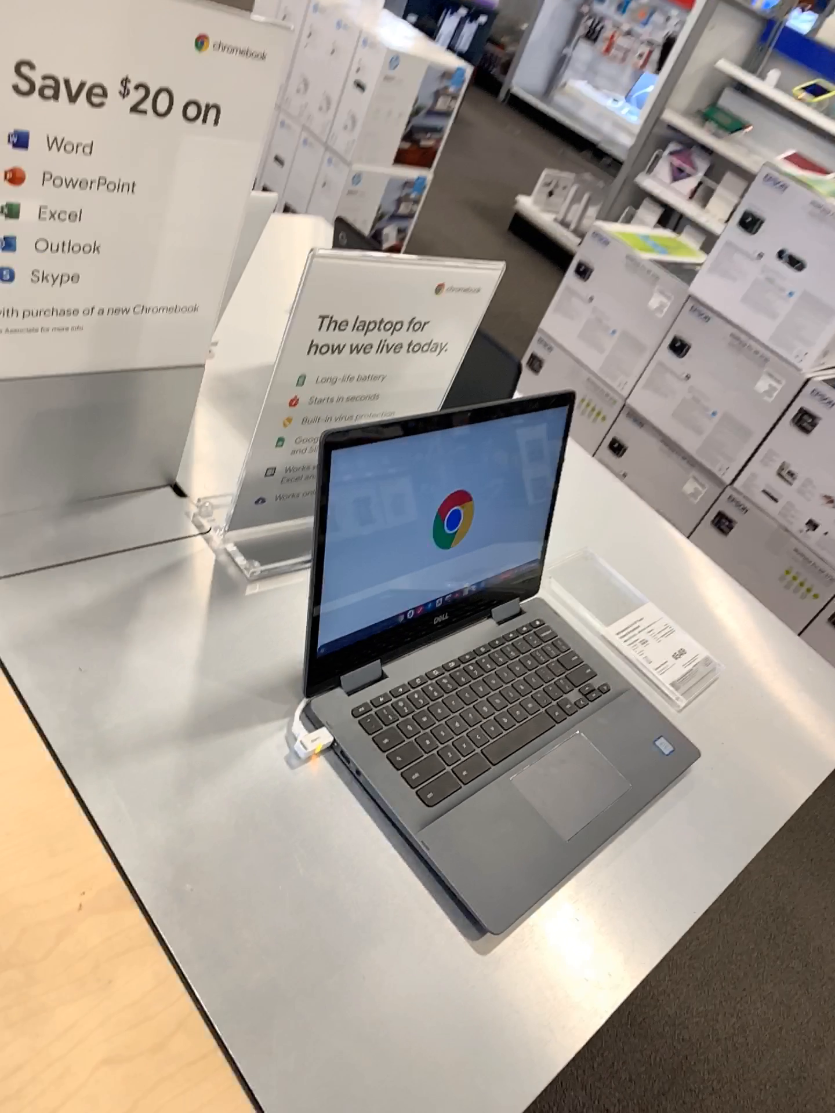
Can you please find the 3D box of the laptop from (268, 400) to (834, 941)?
[{"bbox_3d":[0.111,0.058,0.698,0.311,0.202,0.292,-19,55,-44],"label":"laptop"}]
